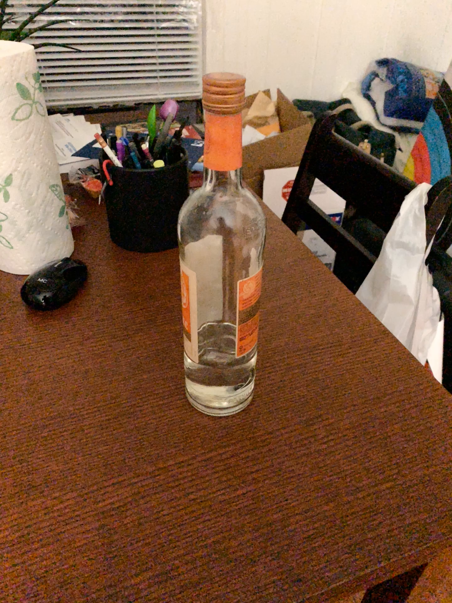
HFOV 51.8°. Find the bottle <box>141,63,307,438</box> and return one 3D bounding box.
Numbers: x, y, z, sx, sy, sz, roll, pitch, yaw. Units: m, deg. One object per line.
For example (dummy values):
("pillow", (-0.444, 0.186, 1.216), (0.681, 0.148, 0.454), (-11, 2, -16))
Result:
("bottle", (-0.001, -0.026, 0.394), (0.080, 0.298, 0.090), (15, 39, 17))
